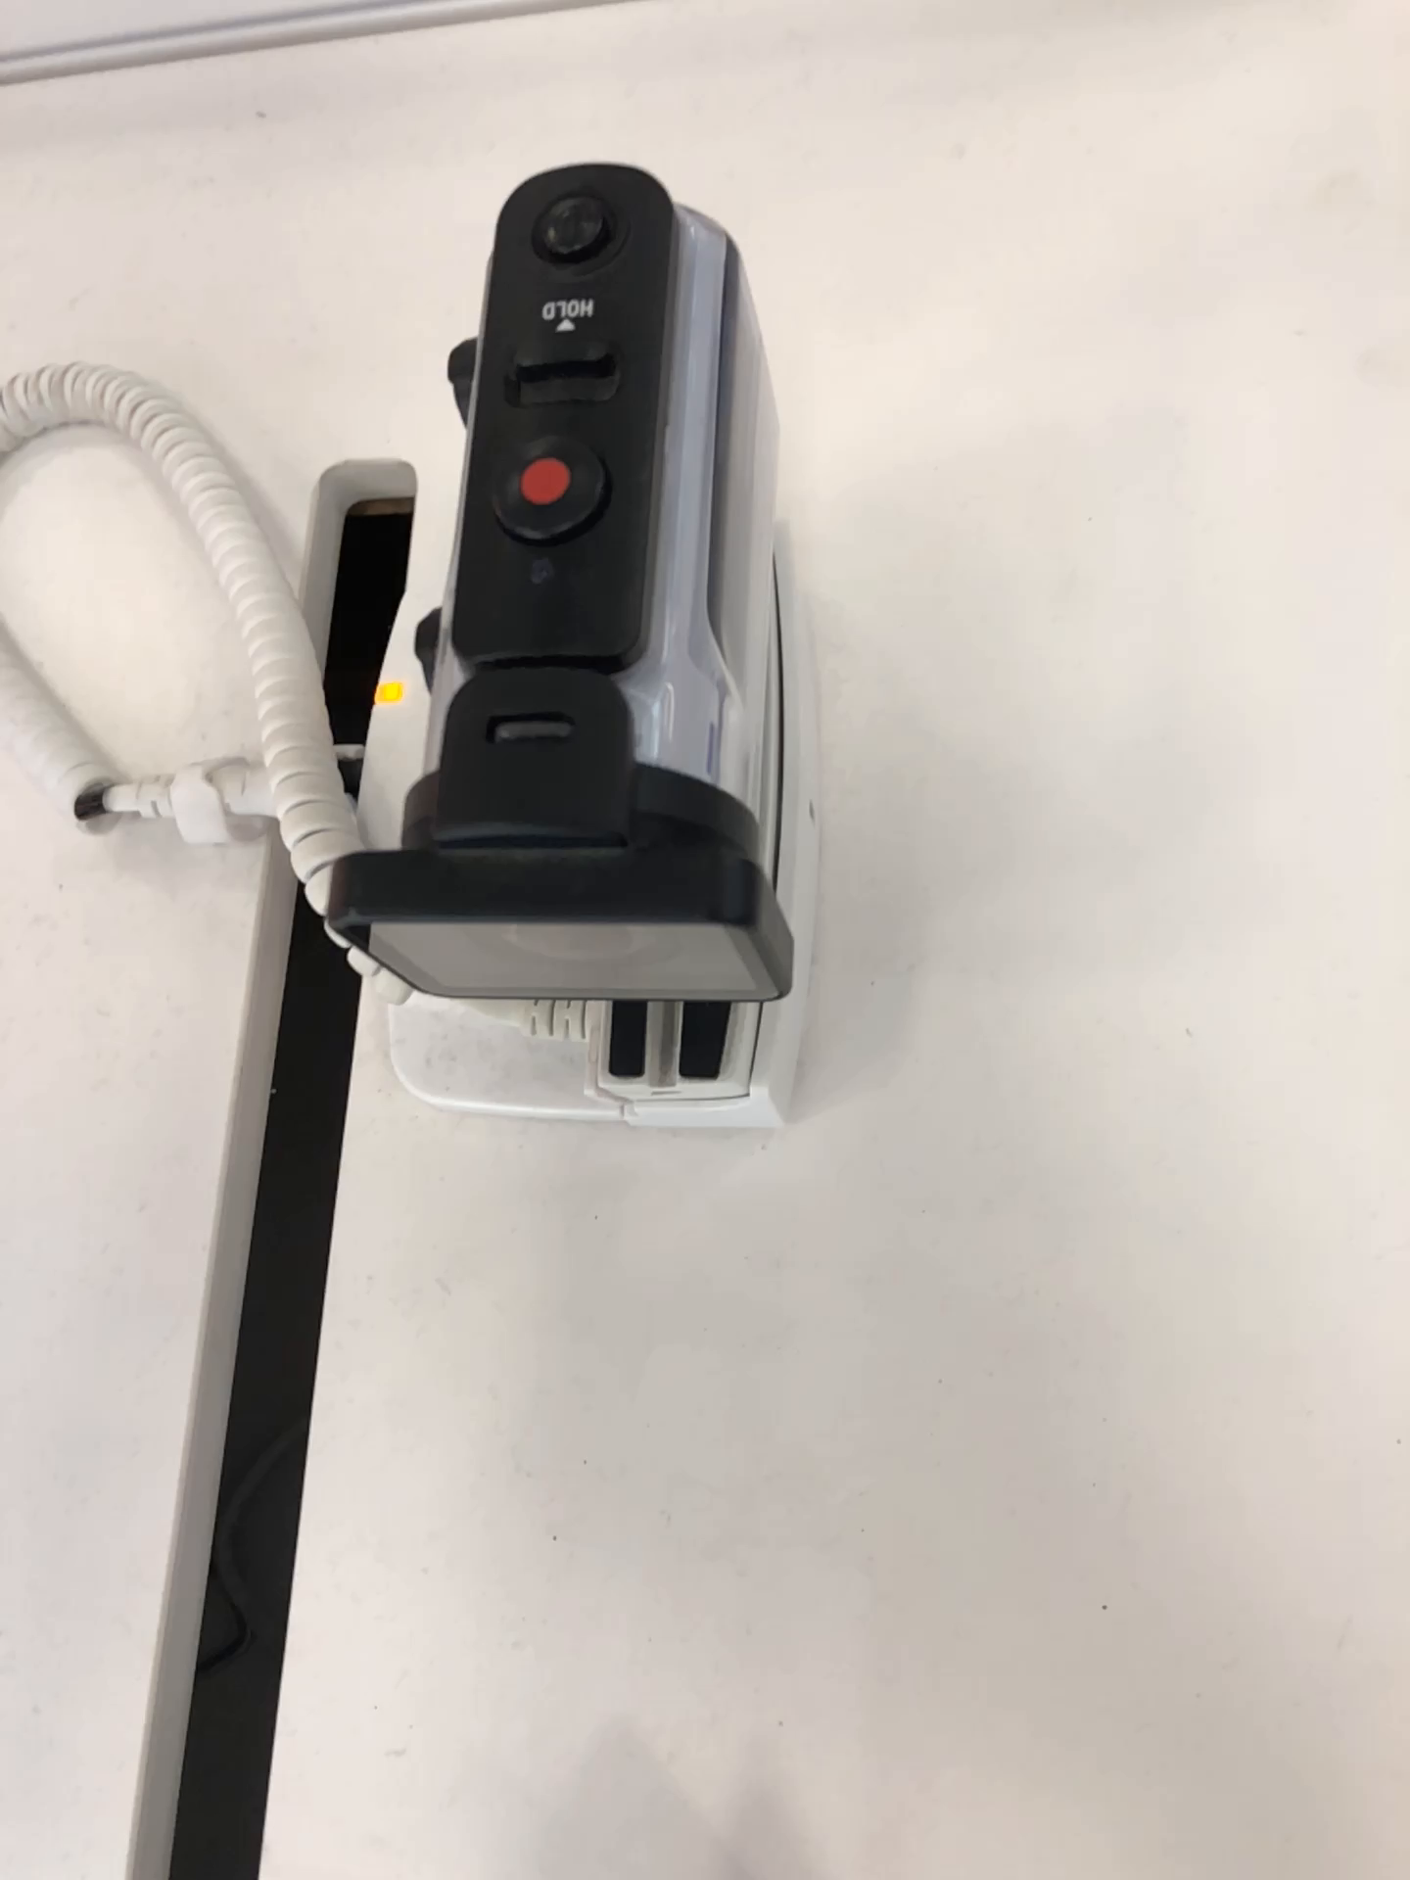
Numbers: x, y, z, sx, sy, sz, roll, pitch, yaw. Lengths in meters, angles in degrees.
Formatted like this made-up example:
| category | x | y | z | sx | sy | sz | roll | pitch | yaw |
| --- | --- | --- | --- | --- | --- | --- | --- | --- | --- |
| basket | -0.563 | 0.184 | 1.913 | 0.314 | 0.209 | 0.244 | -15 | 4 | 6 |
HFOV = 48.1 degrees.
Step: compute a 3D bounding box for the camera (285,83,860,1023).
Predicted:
| category | x | y | z | sx | sy | sz | roll | pitch | yaw |
| --- | --- | --- | --- | --- | --- | --- | --- | --- | --- |
| camera | -0.010 | -0.041 | 0.192 | 0.050 | 0.060 | 0.090 | -1 | 73 | 11 |
